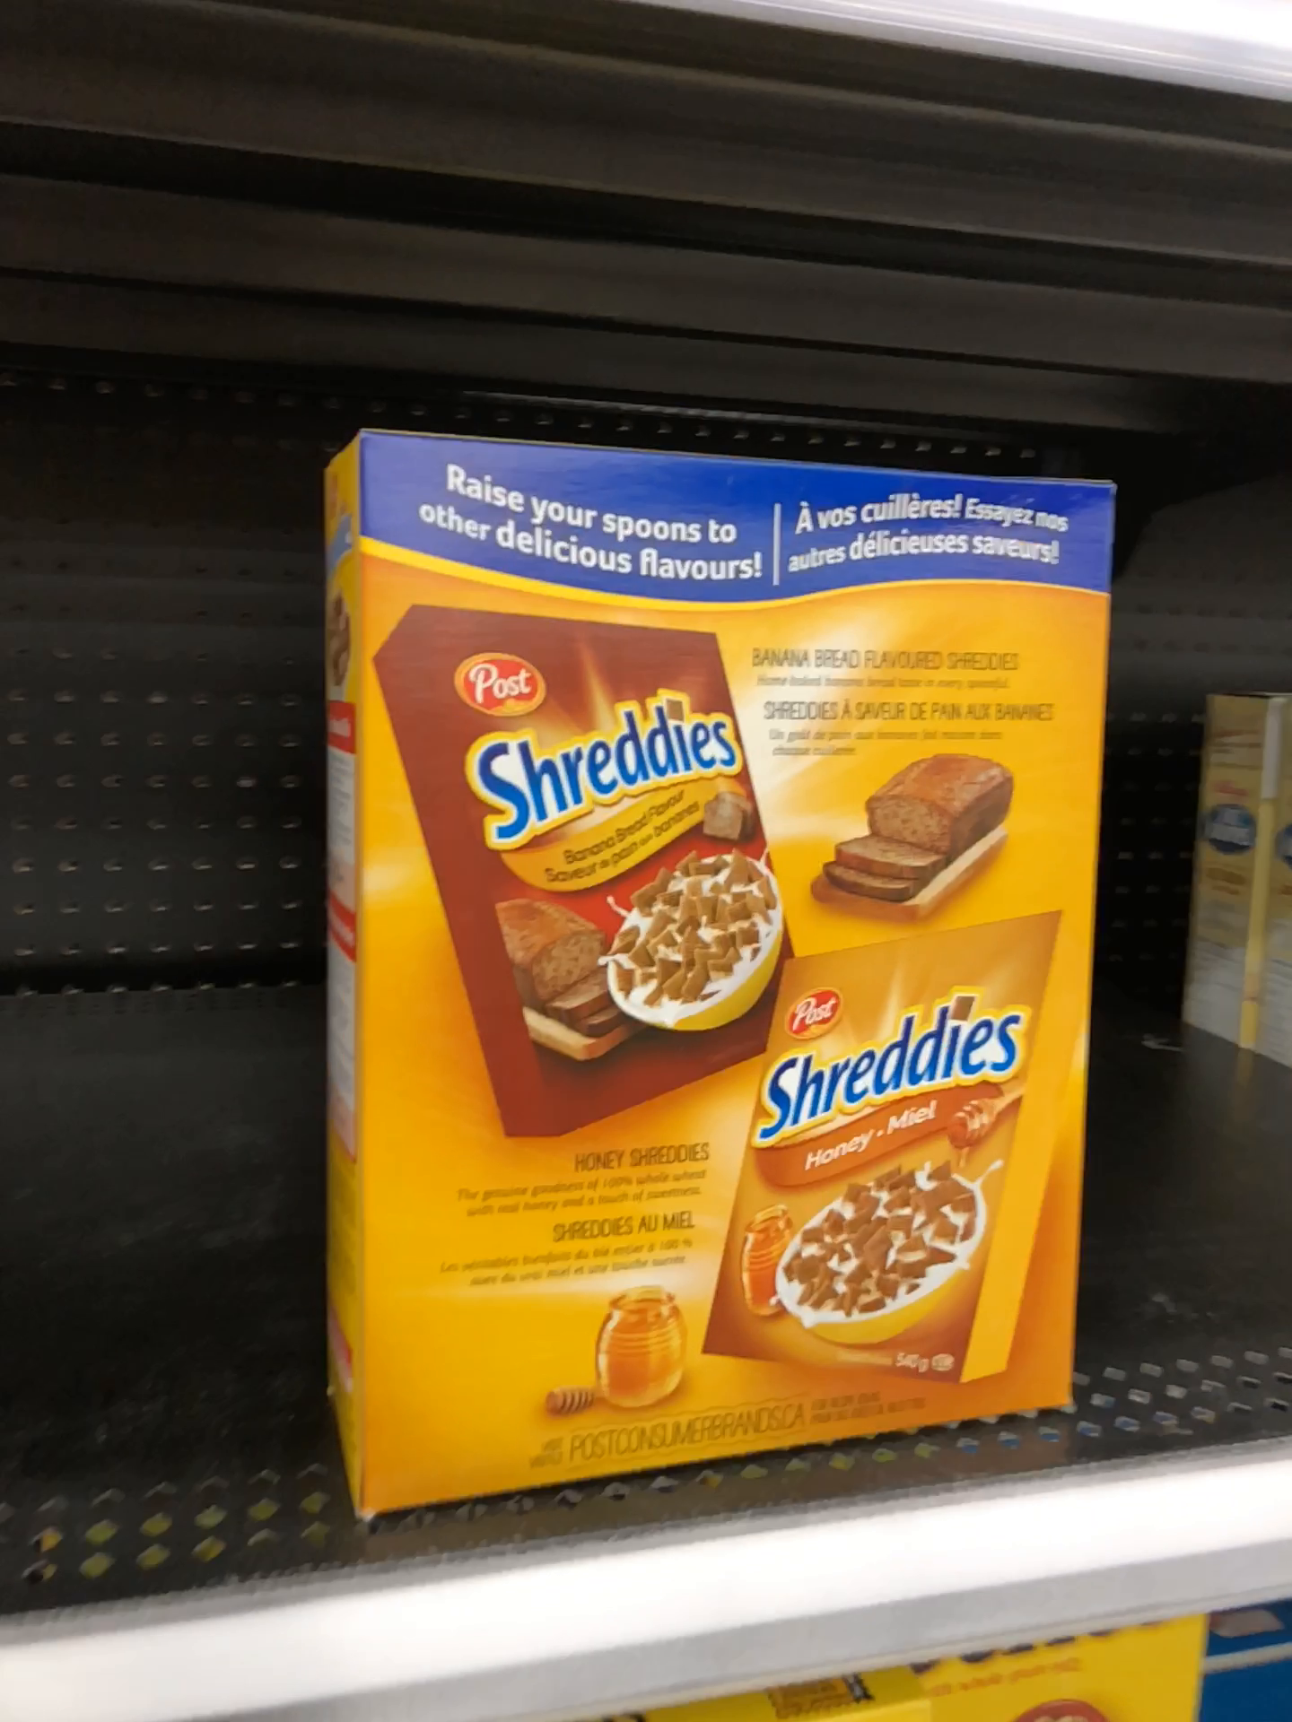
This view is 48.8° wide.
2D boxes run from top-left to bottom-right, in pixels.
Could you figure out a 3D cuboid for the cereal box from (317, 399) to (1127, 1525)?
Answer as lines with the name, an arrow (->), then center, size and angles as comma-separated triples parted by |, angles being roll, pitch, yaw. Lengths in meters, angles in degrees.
cereal box -> 0.019, 0.024, 0.396 | 0.210, 0.269, 0.060 | -1, 6, -18
